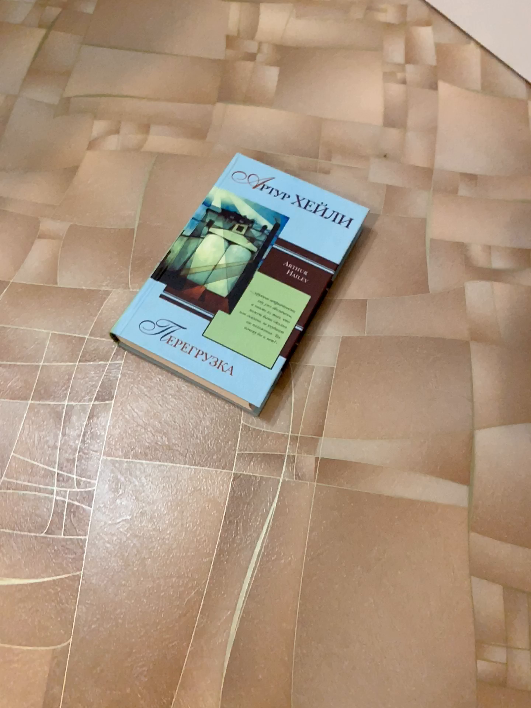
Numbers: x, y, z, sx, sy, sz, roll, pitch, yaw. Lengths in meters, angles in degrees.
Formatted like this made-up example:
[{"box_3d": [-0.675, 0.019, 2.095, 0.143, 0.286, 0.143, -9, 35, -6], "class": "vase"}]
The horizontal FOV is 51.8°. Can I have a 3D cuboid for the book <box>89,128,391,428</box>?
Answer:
[{"box_3d": [-0.013, -0.070, 0.439, 0.150, 0.040, 0.211, 26, 68, 11], "class": "book"}]
